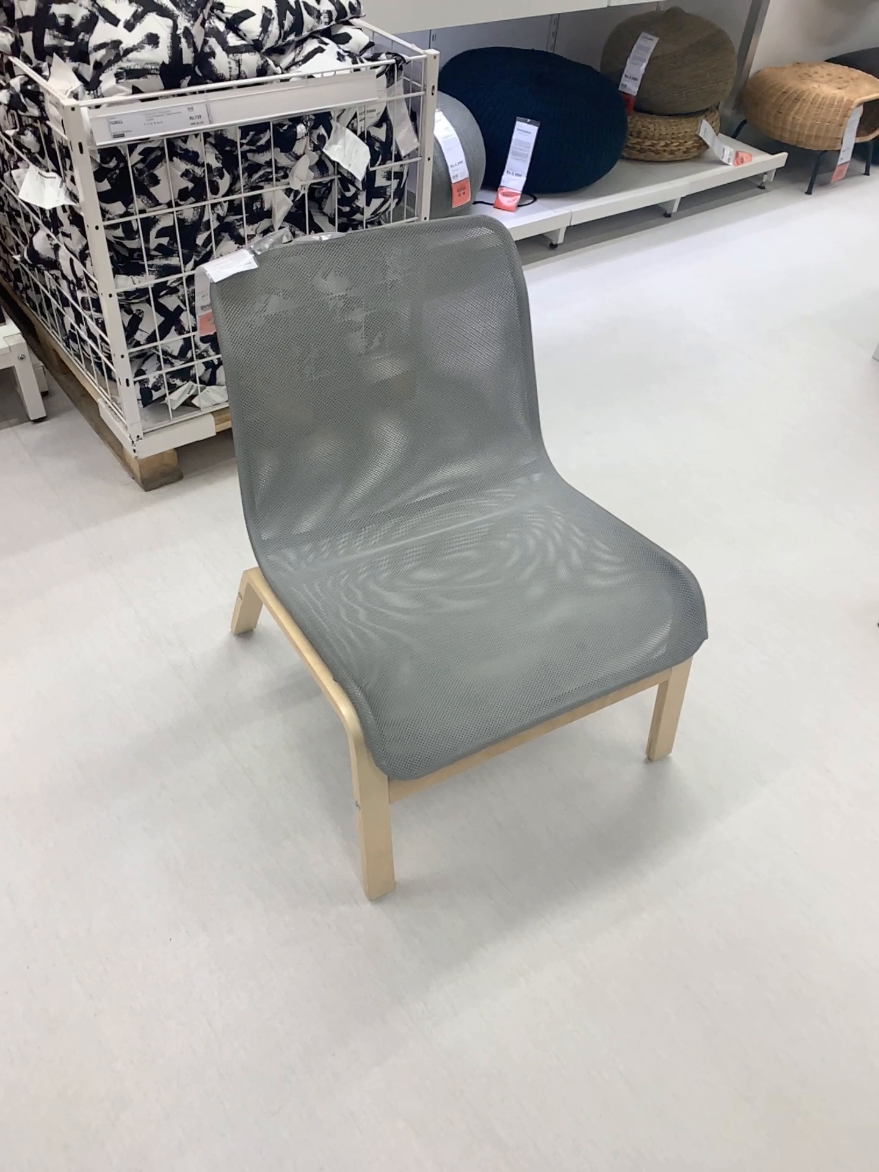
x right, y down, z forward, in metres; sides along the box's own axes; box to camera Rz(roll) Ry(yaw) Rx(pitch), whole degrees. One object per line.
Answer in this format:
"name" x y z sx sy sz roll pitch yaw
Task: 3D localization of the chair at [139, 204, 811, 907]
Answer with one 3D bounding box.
"chair" -0.014 -0.090 1.472 0.631 0.697 0.752 -19 50 -23
